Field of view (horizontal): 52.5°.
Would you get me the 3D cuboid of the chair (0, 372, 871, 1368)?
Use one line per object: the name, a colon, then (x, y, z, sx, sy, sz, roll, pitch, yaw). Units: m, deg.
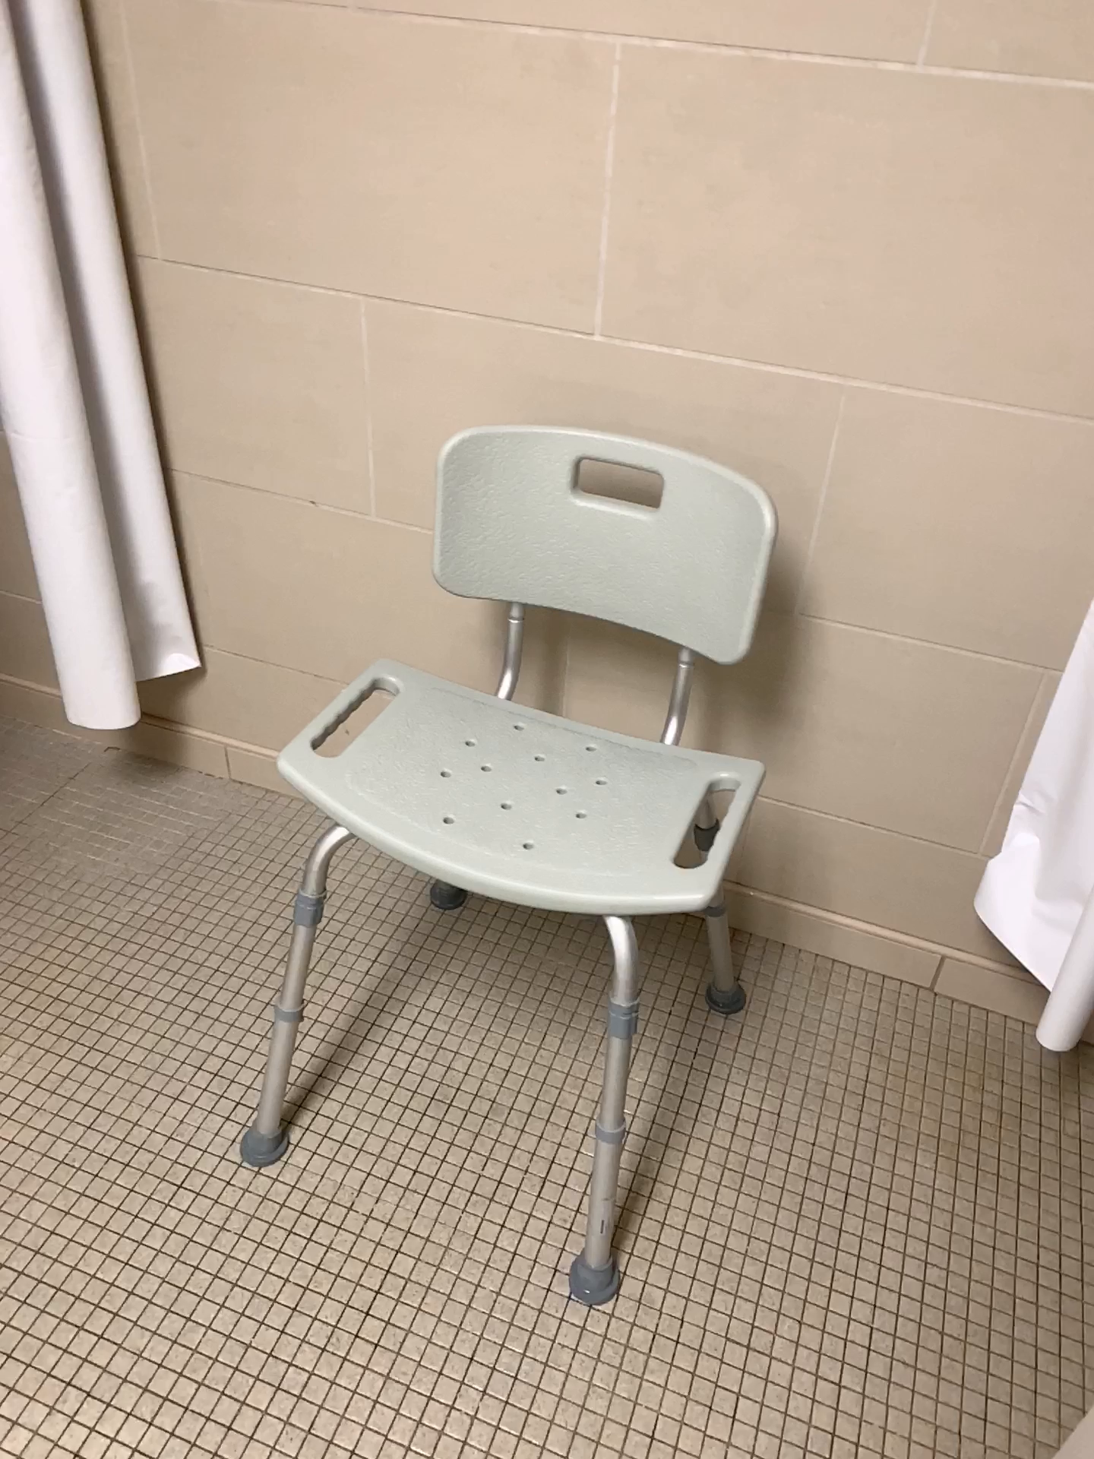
chair: (-0.055, 0.126, 1.143, 0.550, 0.745, 0.524, 14, 40, 17)
